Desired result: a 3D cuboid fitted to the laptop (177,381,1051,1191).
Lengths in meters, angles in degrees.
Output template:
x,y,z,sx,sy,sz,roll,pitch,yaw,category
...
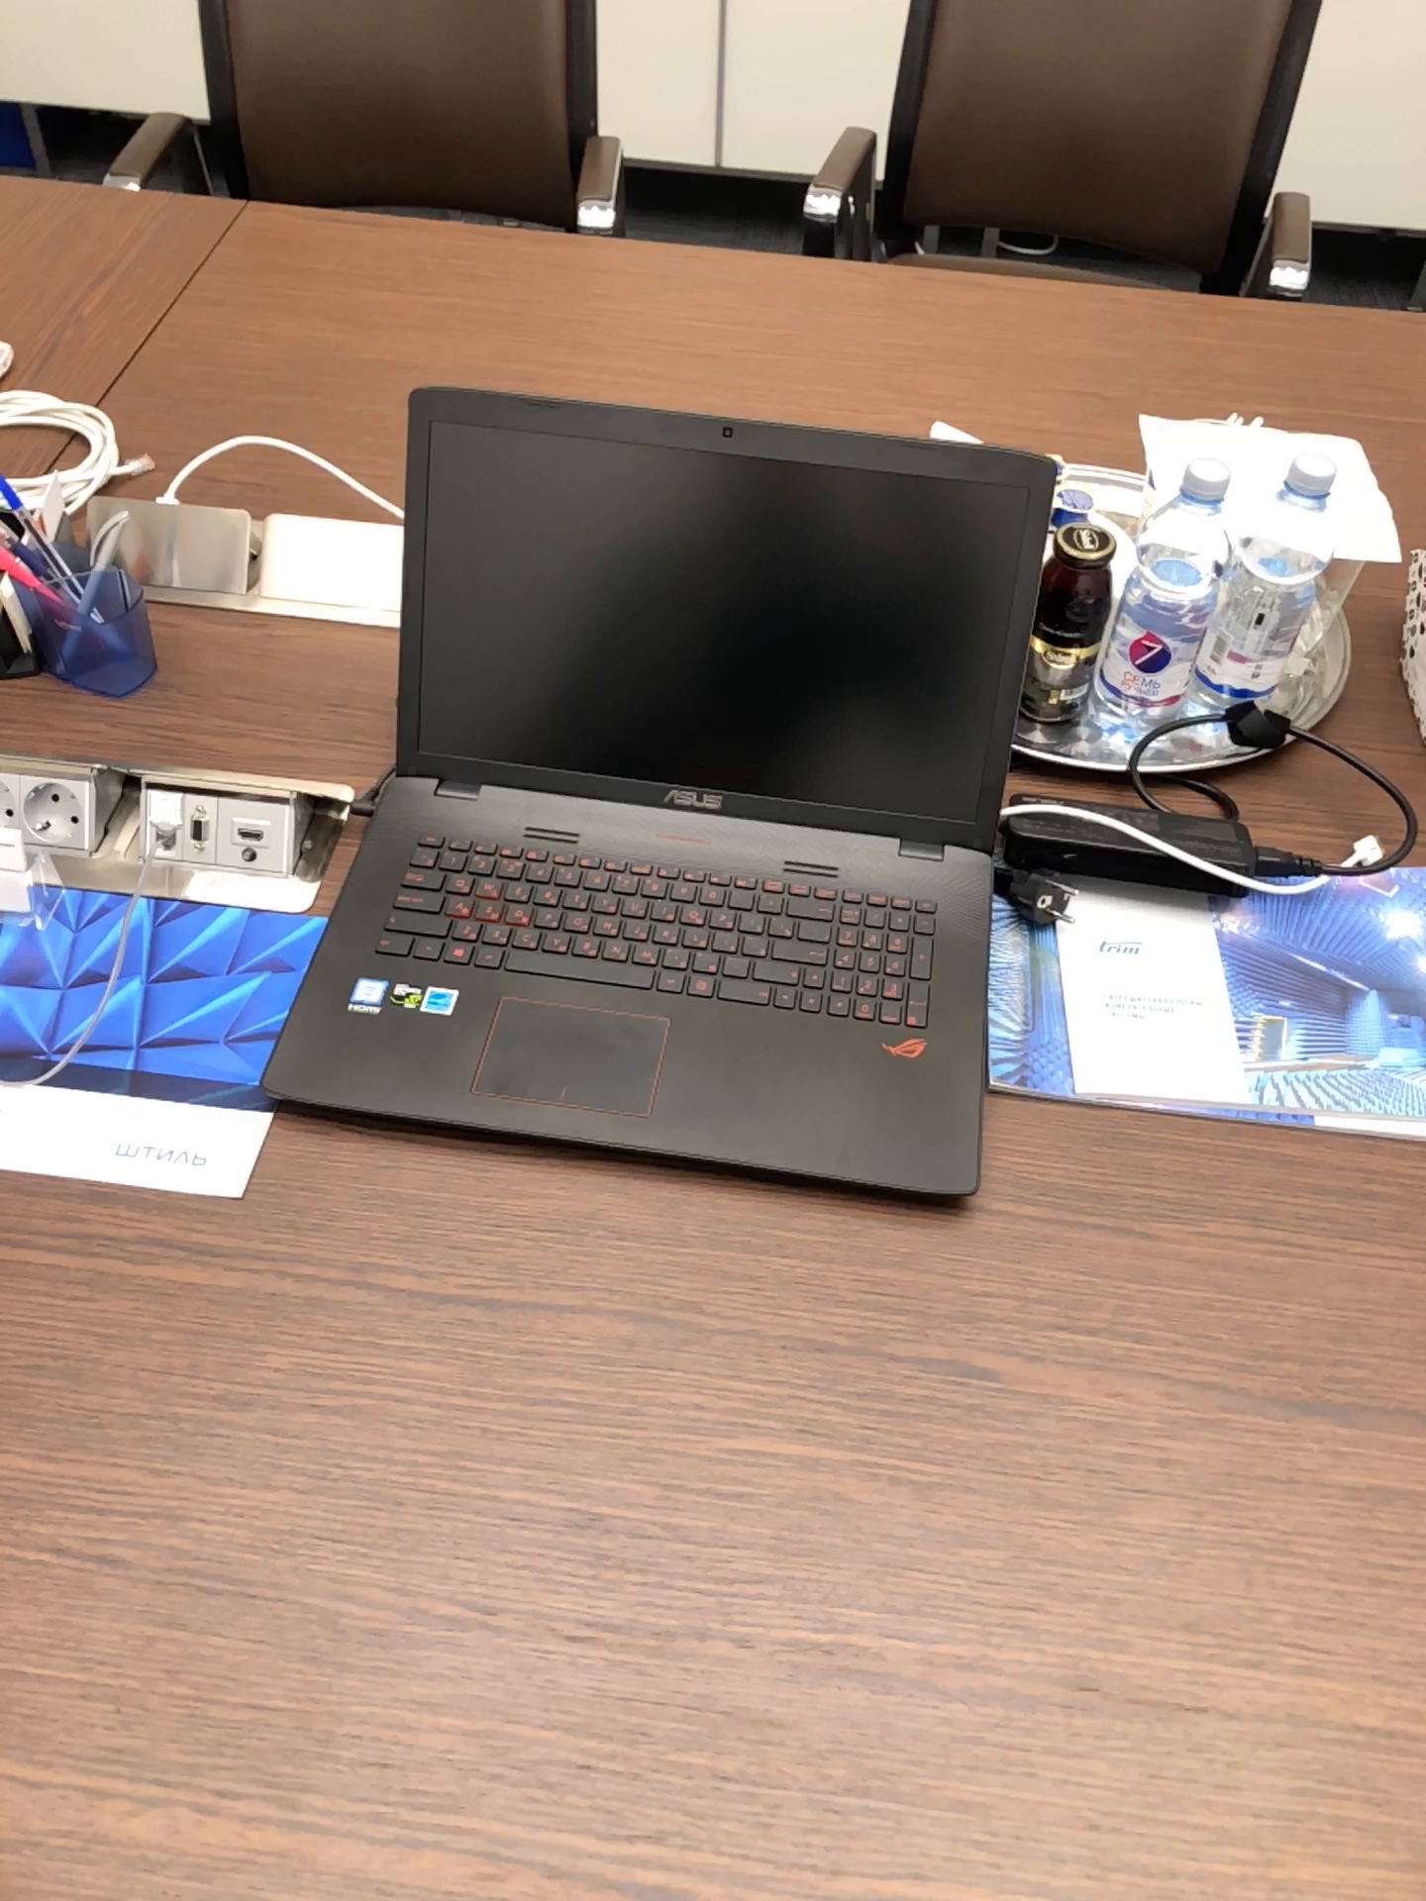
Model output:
x,y,z,sx,sy,sz,roll,pitch,yaw,category
-0.024,-0.106,0.865,0.379,0.194,0.370,8,50,4,laptop
